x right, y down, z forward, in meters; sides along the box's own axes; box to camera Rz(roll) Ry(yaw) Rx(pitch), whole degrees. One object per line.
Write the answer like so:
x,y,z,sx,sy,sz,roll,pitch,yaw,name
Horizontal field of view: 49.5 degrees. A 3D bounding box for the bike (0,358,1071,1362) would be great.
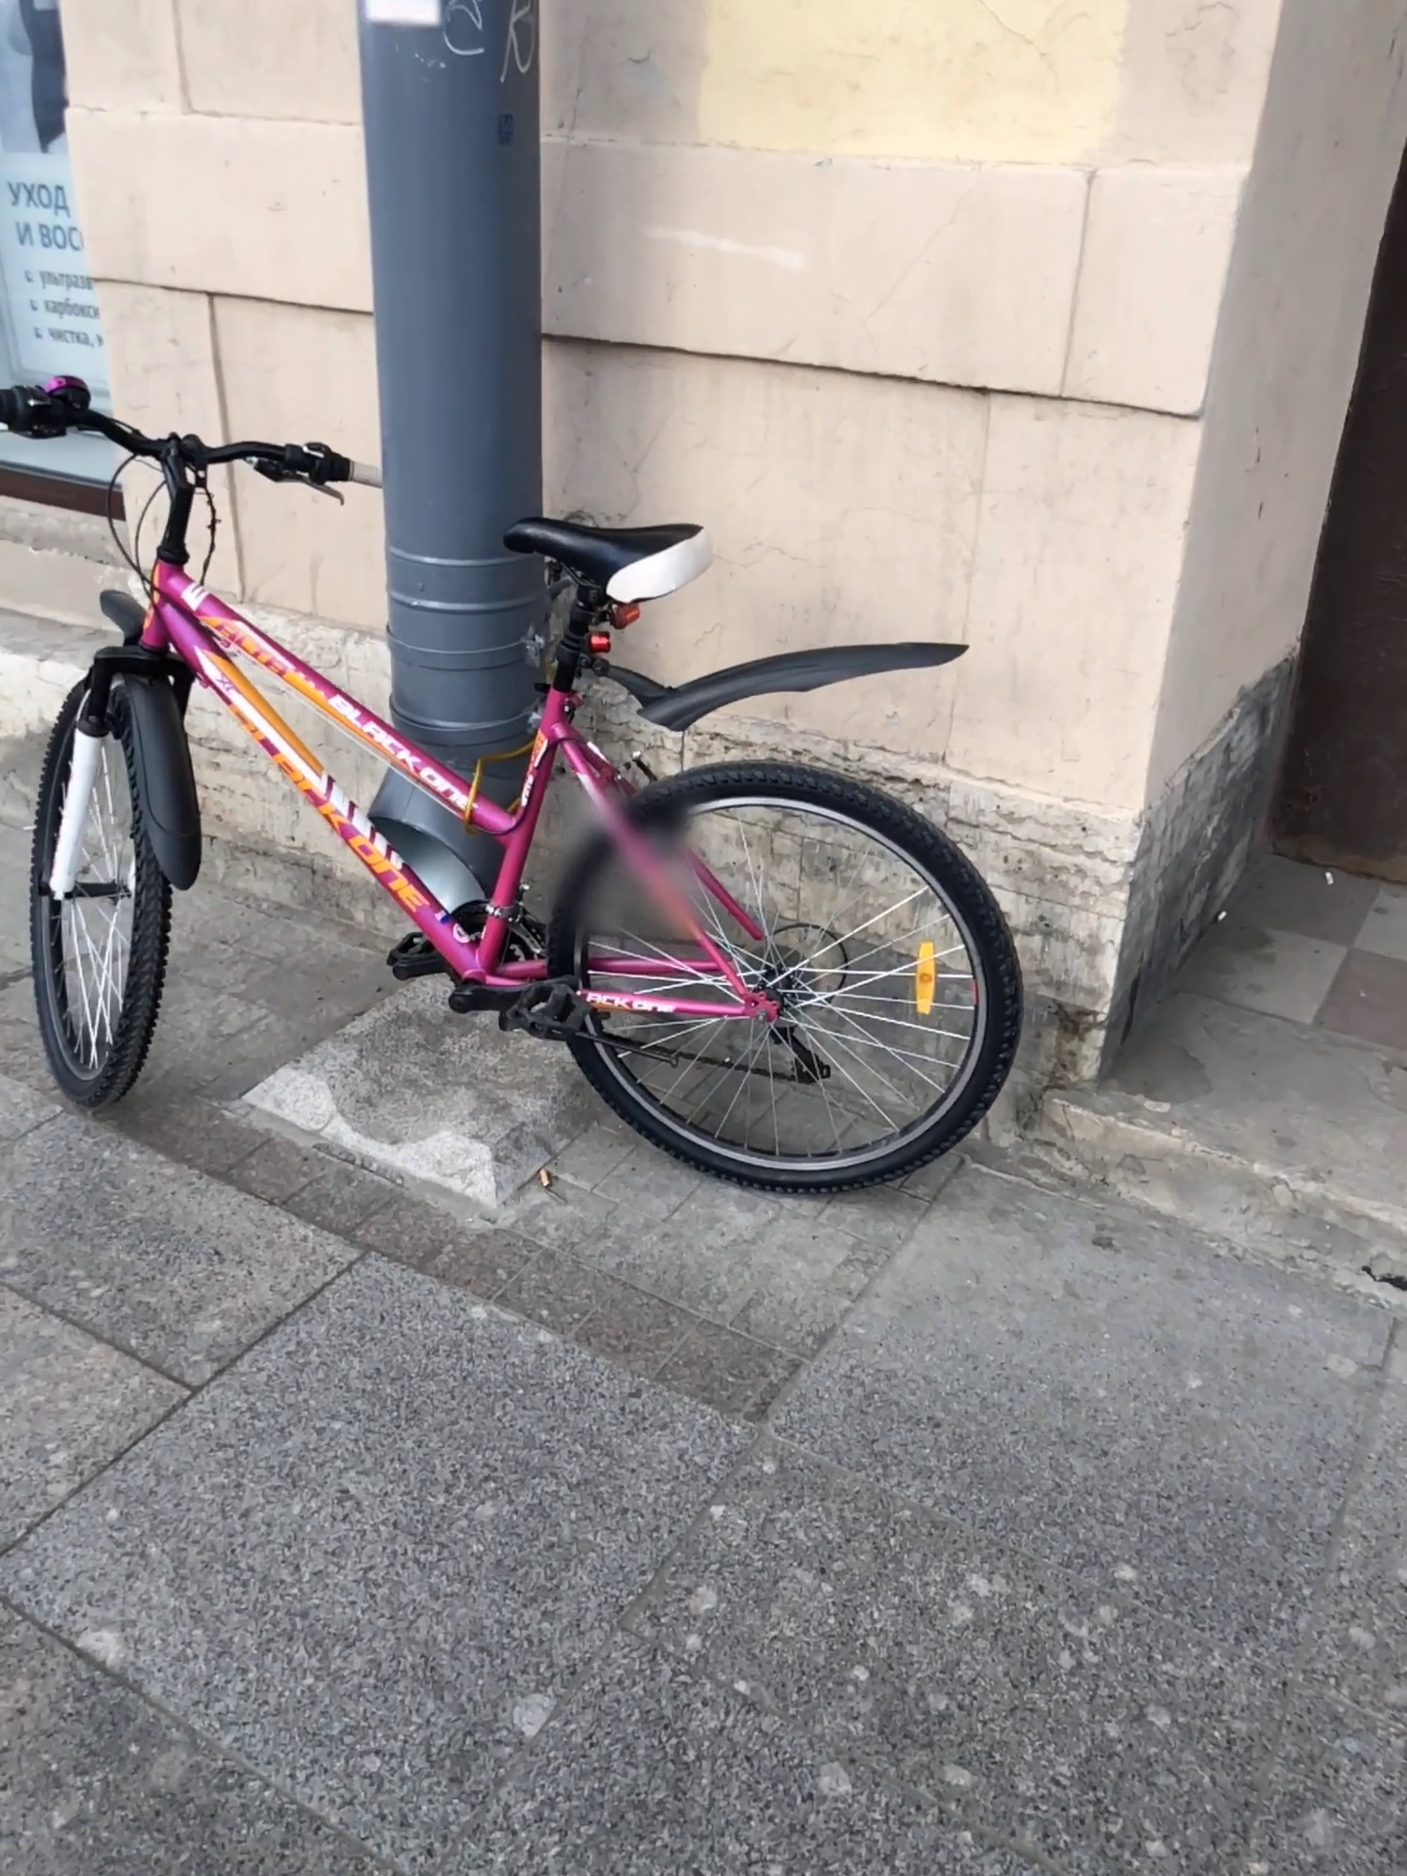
-0.369,-0.218,2.120,1.576,0.974,0.625,11,29,20,bike
